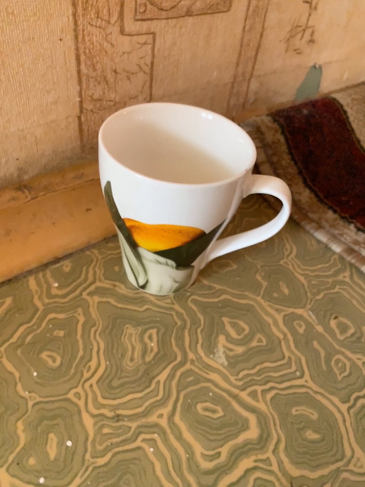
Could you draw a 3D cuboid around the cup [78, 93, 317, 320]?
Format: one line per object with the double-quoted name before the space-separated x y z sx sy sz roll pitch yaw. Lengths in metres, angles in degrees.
"cup" 0.005 -0.024 0.256 0.118 0.099 0.094 8 43 -2
